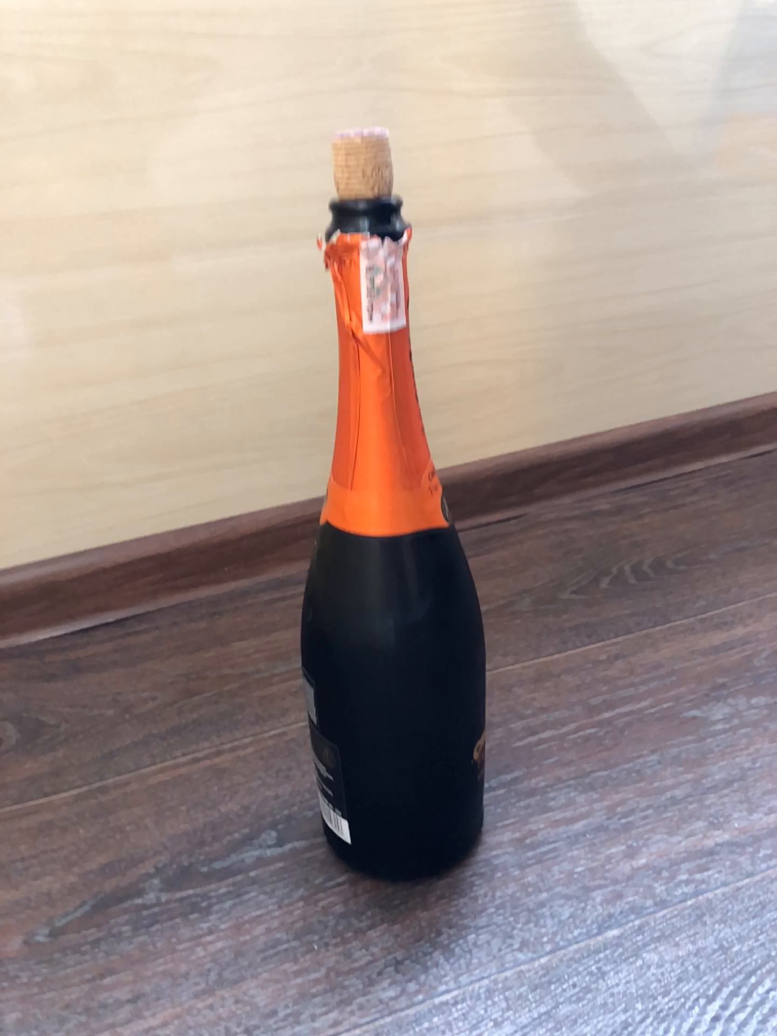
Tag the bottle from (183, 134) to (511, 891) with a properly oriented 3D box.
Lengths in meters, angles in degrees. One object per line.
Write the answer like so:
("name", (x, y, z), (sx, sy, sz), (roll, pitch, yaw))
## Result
("bottle", (-0.002, 0.011, 0.387), (0.100, 0.328, 0.093), (-4, 24, 2))
